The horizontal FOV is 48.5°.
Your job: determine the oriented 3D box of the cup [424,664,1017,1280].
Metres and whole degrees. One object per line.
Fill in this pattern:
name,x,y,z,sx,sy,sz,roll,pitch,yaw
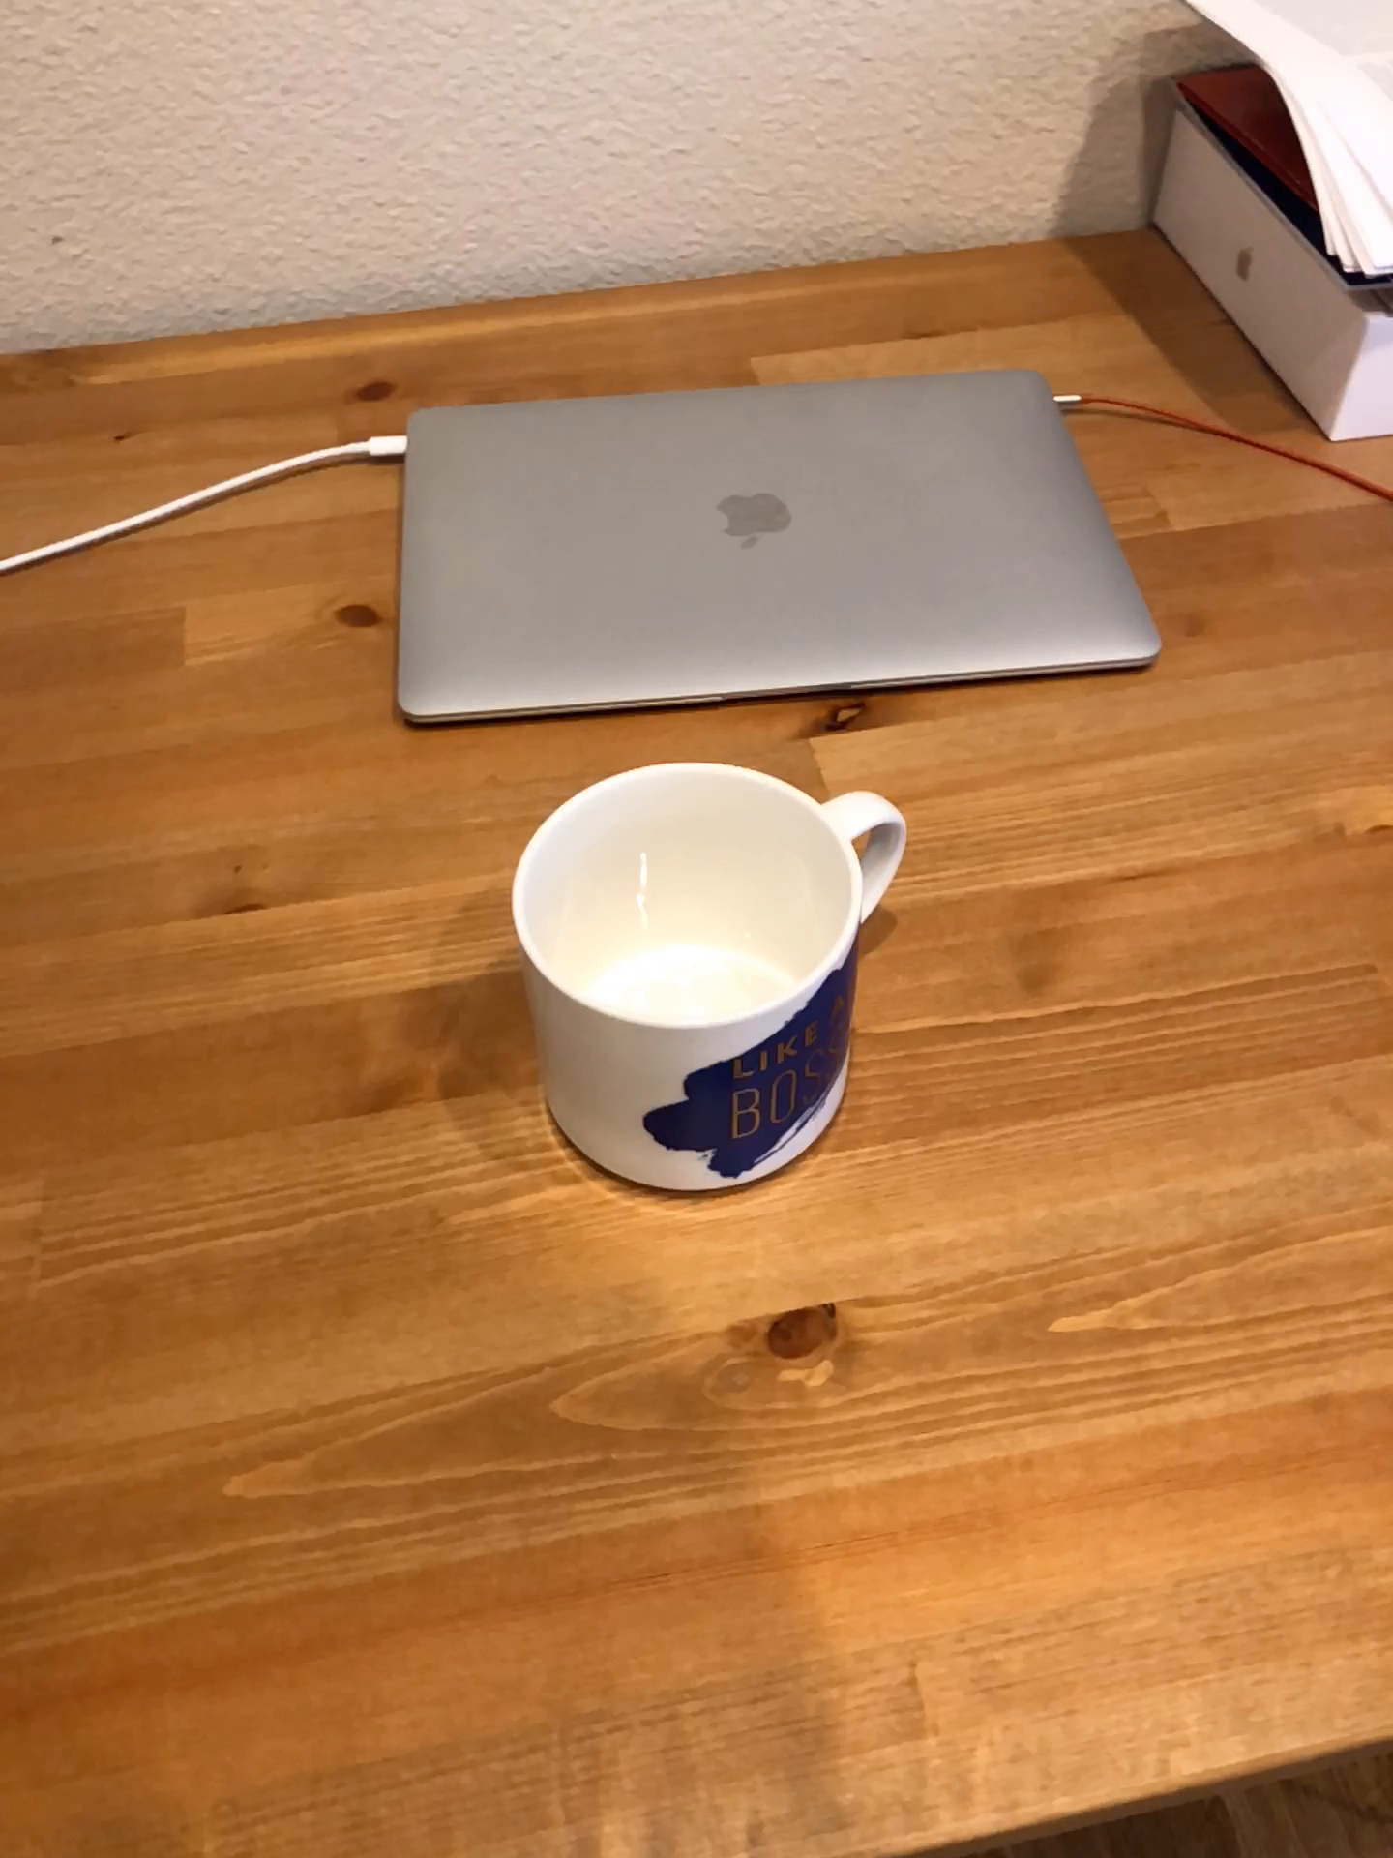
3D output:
cup,0.009,0.009,0.459,0.130,0.090,0.100,-36,57,-26
